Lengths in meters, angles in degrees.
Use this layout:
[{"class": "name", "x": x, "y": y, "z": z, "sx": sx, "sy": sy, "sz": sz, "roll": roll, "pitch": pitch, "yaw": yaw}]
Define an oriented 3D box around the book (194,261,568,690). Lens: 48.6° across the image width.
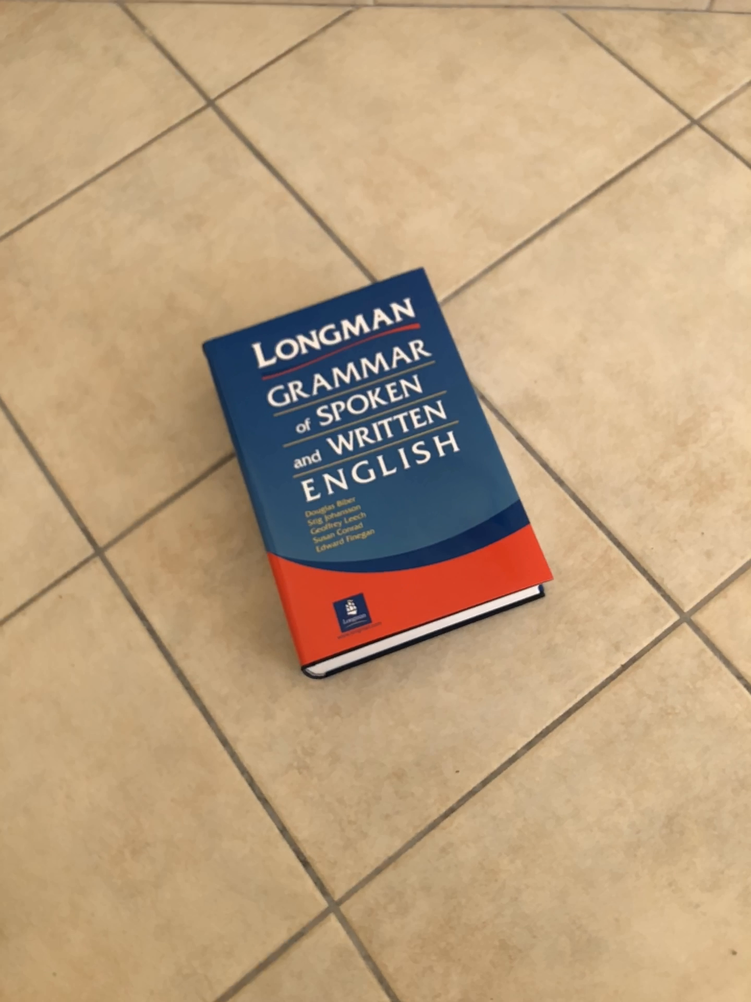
[{"class": "book", "x": -0.003, "y": -0.022, "z": 0.578, "sx": 0.177, "sy": 0.060, "sz": 0.250, "roll": -19, "pitch": 70, "yaw": -2}]
